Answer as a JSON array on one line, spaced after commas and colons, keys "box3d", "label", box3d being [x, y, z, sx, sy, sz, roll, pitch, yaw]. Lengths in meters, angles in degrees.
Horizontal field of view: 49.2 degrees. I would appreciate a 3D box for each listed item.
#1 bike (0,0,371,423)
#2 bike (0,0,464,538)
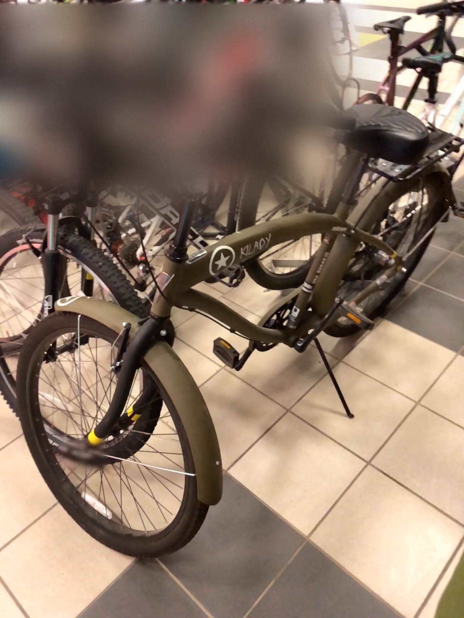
[{"box3d": [-0.270, -0.363, 1.490, 0.974, 1.227, 0.666, -20, 40, -30], "label": "bike"}, {"box3d": [0.148, -0.296, 1.378, 1.496, 1.130, 0.835, -19, 41, -24], "label": "bike"}]
